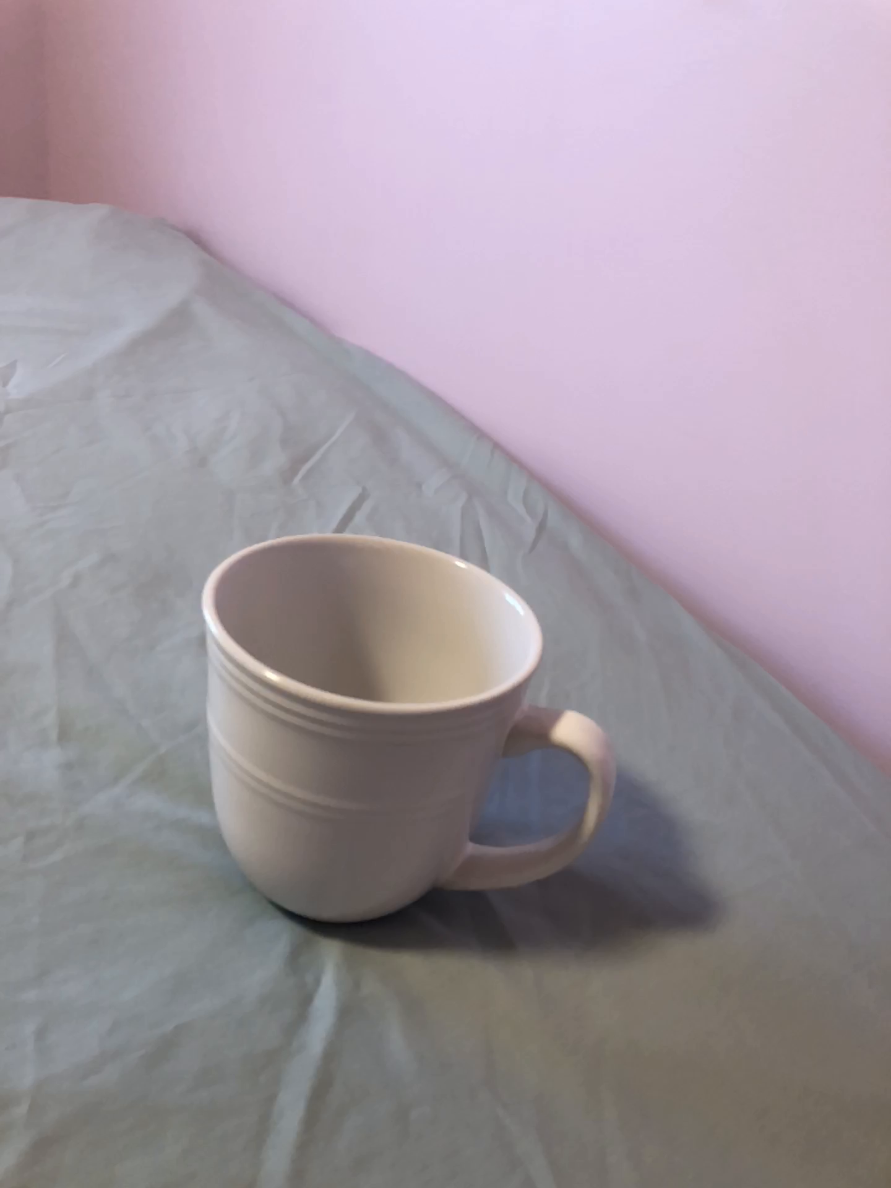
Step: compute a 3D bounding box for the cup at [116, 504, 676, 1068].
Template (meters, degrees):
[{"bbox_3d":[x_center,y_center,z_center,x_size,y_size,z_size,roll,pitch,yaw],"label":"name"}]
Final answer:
[{"bbox_3d":[-0.015,0.051,0.317,0.140,0.099,0.100,17,29,15],"label":"cup"}]
